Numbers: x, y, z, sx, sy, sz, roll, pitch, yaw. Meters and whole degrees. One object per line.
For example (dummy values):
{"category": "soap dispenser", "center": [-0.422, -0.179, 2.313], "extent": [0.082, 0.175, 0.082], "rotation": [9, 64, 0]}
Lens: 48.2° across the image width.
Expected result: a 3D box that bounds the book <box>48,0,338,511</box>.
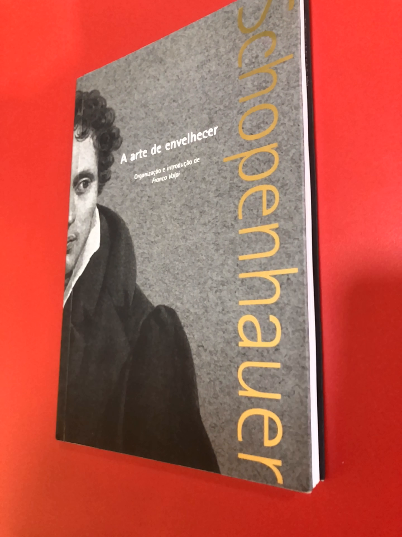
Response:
{"category": "book", "center": [-0.013, -0.015, 0.202], "extent": [0.137, 0.017, 0.196], "rotation": [-6, 79, 35]}
